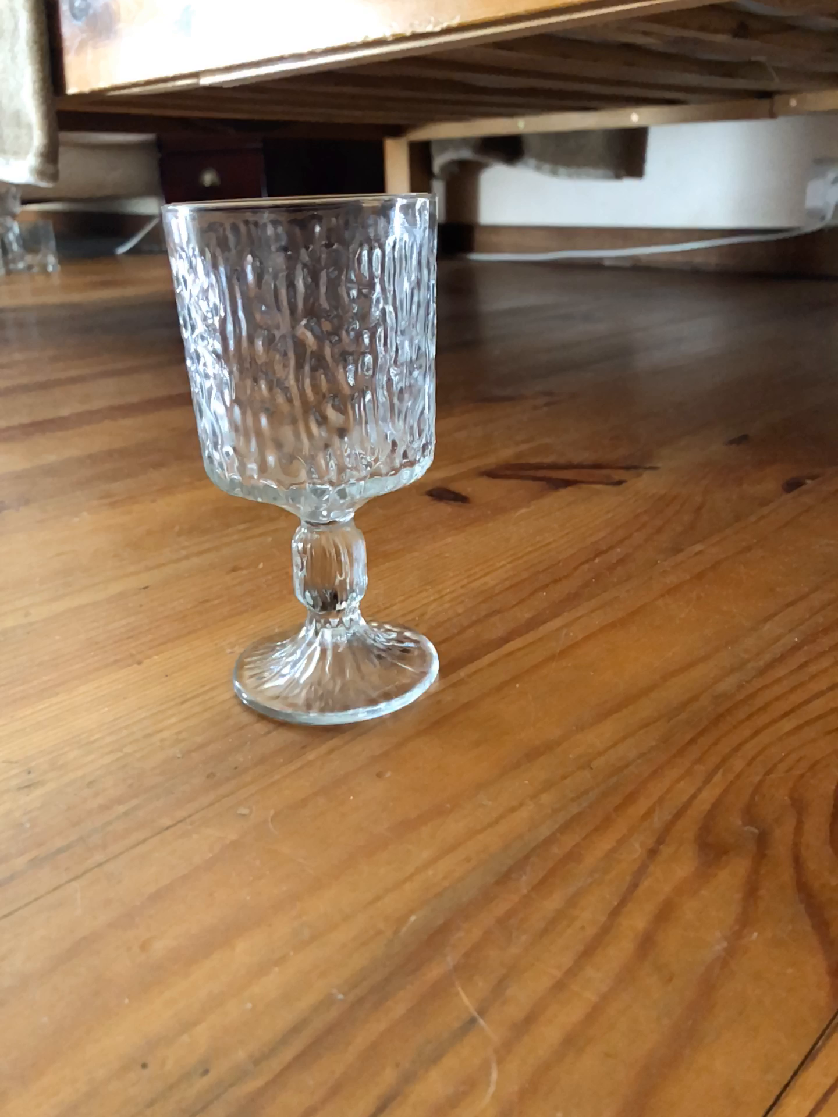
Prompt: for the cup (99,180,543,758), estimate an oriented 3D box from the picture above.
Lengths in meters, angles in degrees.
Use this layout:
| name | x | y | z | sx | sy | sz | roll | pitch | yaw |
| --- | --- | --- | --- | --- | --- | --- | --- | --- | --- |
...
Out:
| name | x | y | z | sx | sy | sz | roll | pitch | yaw |
| --- | --- | --- | --- | --- | --- | --- | --- | --- | --- |
| cup | -0.024 | -0.033 | 0.263 | 0.081 | 0.134 | 0.081 | -1 | 21 | 1 |
